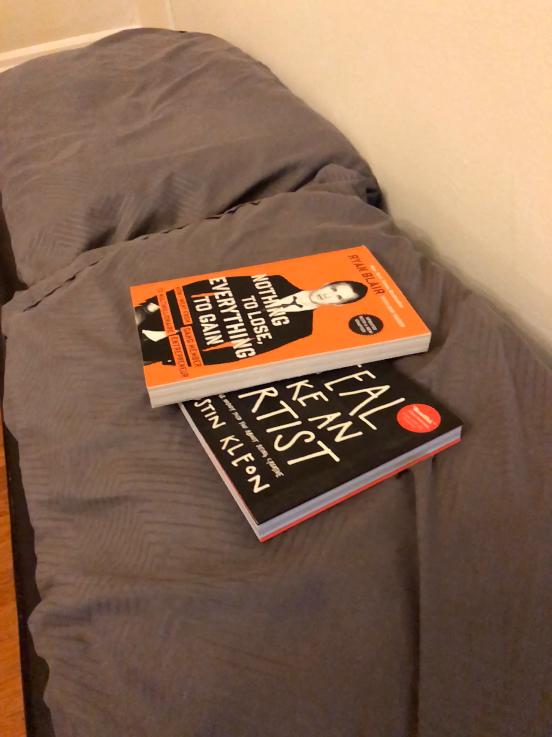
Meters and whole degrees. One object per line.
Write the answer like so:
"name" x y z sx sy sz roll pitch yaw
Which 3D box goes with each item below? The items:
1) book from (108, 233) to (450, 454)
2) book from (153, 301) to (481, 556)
"book" -0.008 -0.033 0.486 0.230 0.020 0.171 -14 45 -10
"book" 0.023 0.027 0.423 0.170 0.020 0.151 -23 46 -20
